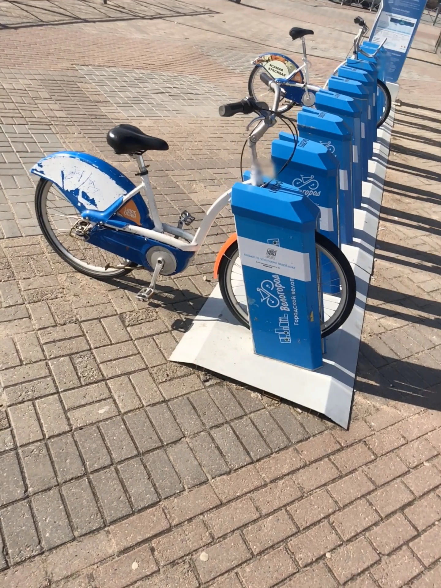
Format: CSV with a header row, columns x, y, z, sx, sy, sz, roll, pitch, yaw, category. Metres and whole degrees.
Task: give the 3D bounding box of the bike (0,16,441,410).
x,y,z,sx,sy,sz,roll,pitch,yaw,category
-0.110,-0.404,2.127,1.675,1.233,0.685,18,35,12,bike
